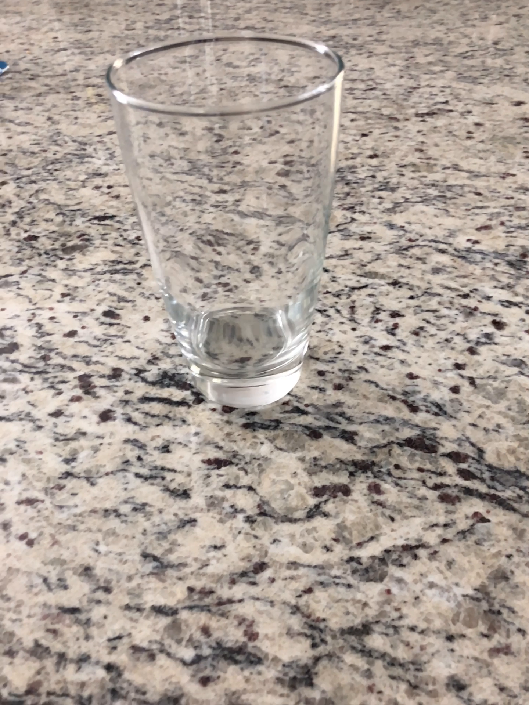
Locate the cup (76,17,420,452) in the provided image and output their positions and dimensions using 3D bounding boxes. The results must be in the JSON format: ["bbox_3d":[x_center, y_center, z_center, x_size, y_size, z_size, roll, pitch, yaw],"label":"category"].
[{"bbox_3d":[-0.006,-0.049,0.248,0.090,0.139,0.080,-23,46,-22],"label":"cup"}]
